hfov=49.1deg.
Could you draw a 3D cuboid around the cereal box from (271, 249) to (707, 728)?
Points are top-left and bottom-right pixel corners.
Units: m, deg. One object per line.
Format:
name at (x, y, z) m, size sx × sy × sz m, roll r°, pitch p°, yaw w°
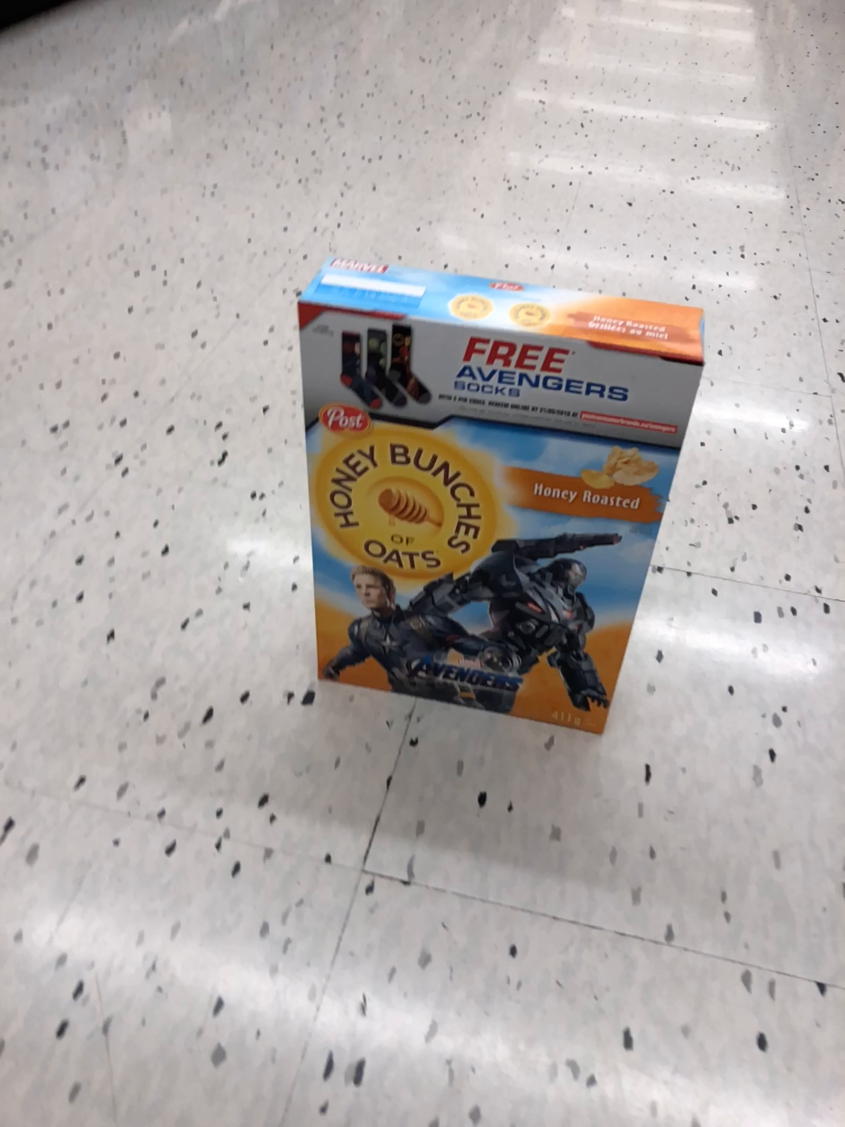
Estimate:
cereal box at (0.027, -0.029, 0.527) m, size 0.200 × 0.258 × 0.060 m, roll 9°, pitch 42°, yaw 7°
